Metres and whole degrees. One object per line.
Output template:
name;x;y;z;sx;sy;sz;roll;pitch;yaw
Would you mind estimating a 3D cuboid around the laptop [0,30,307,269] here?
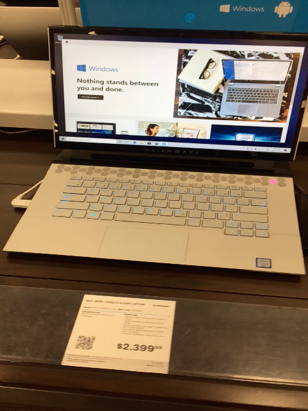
laptop;0.011;-0.092;0.566;0.399;0.213;0.298;4;44;8
